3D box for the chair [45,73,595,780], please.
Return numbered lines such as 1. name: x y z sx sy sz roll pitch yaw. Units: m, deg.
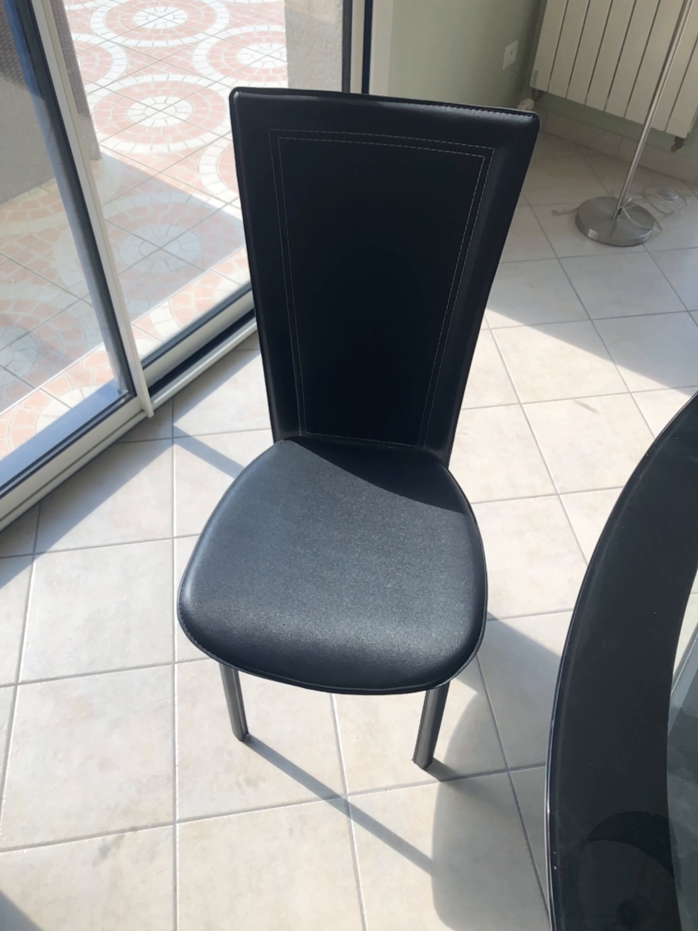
1. chair: -0.007 0.015 1.119 0.450 0.895 0.503 7 49 4
